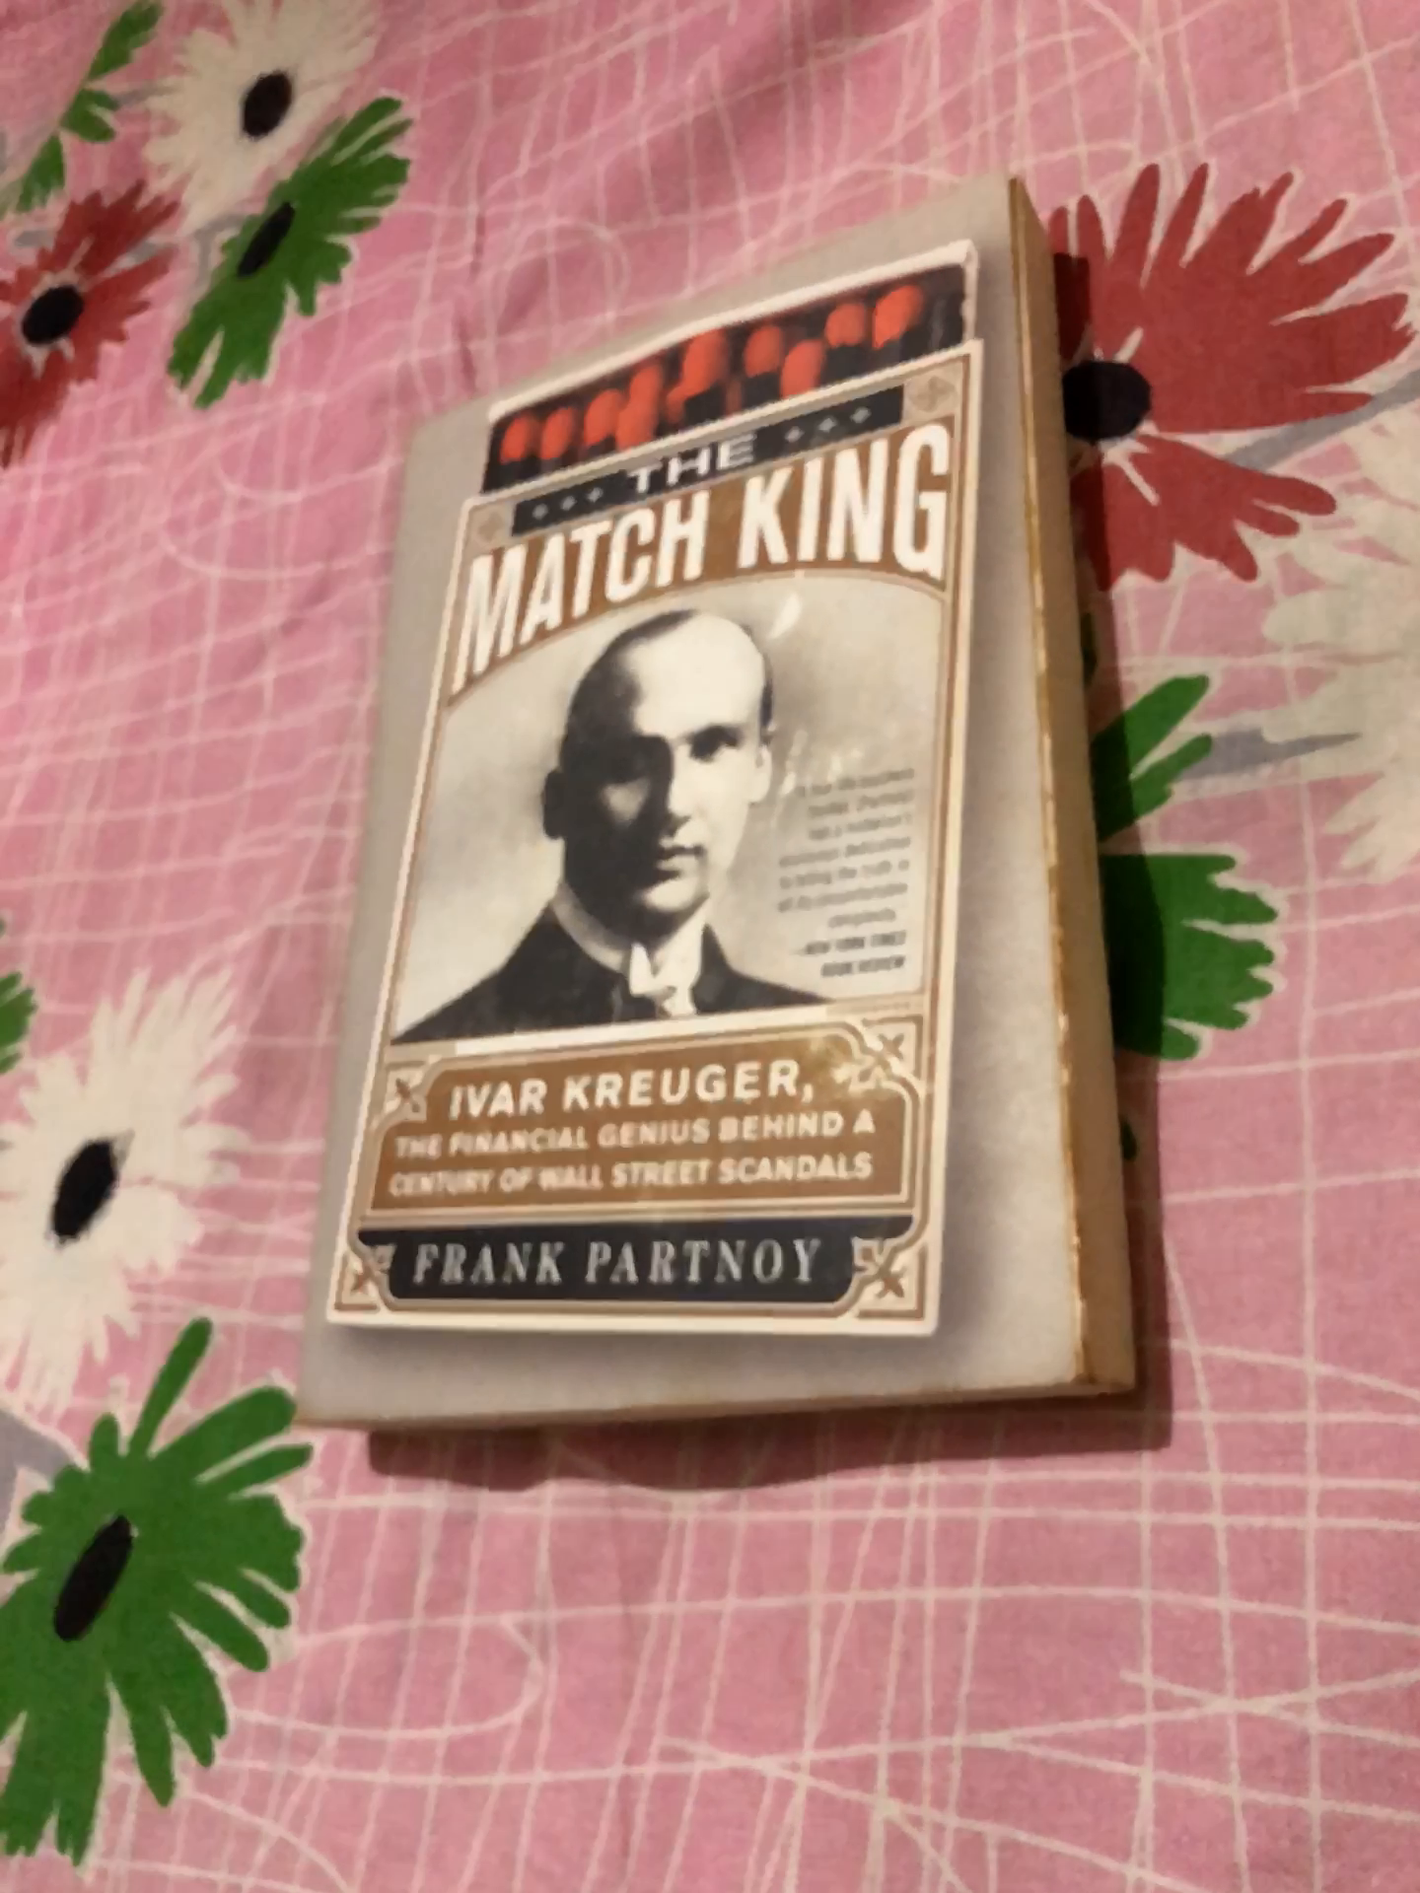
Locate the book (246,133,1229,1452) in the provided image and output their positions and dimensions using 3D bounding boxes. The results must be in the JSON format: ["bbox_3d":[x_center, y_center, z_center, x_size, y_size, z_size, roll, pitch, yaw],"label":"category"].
[{"bbox_3d":[0.002,-0.033,0.310,0.160,0.030,0.240,-13,57,28],"label":"book"}]
